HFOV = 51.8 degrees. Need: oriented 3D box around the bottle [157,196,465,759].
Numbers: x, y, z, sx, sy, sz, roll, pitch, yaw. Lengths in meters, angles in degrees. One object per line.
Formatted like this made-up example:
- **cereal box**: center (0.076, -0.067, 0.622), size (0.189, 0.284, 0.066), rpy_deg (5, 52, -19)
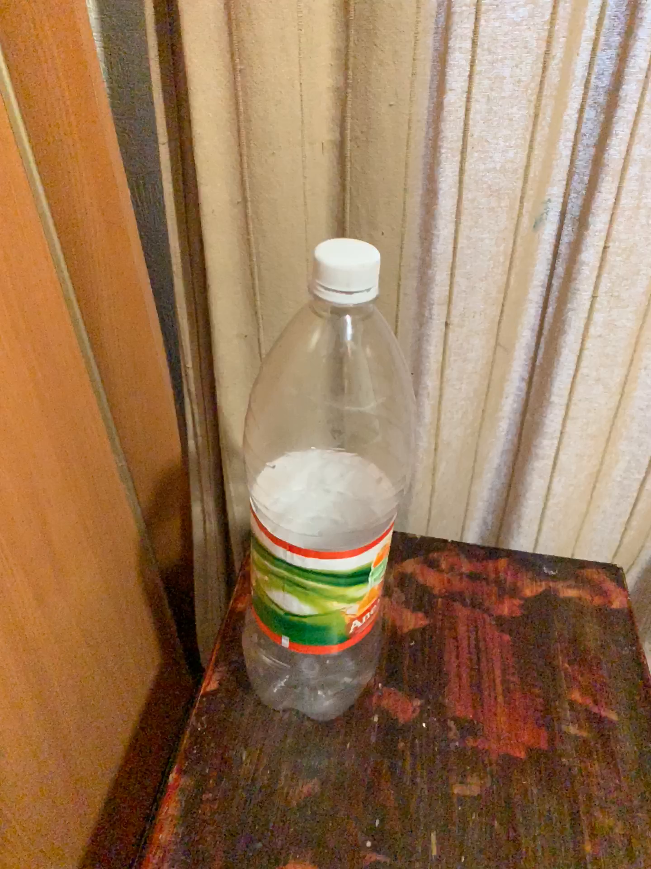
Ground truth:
- **bottle**: center (-0.005, 0.045, 0.389), size (0.100, 0.317, 0.101), rpy_deg (1, 39, -1)
